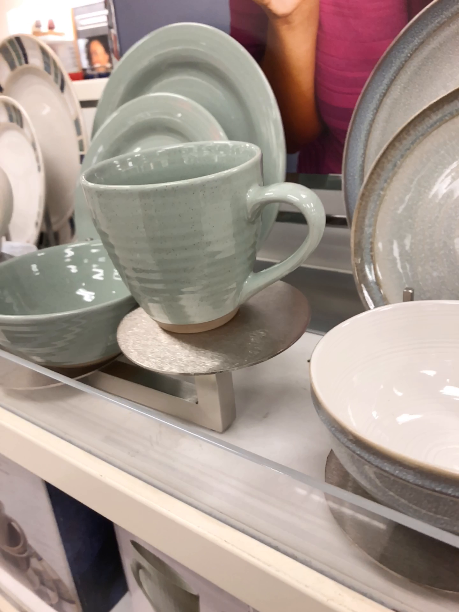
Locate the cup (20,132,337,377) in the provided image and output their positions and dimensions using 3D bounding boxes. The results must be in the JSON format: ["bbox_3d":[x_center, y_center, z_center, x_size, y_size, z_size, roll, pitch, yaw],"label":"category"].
[{"bbox_3d":[-0.018,-0.040,0.295,0.129,0.091,0.116,7,30,25],"label":"cup"}]
